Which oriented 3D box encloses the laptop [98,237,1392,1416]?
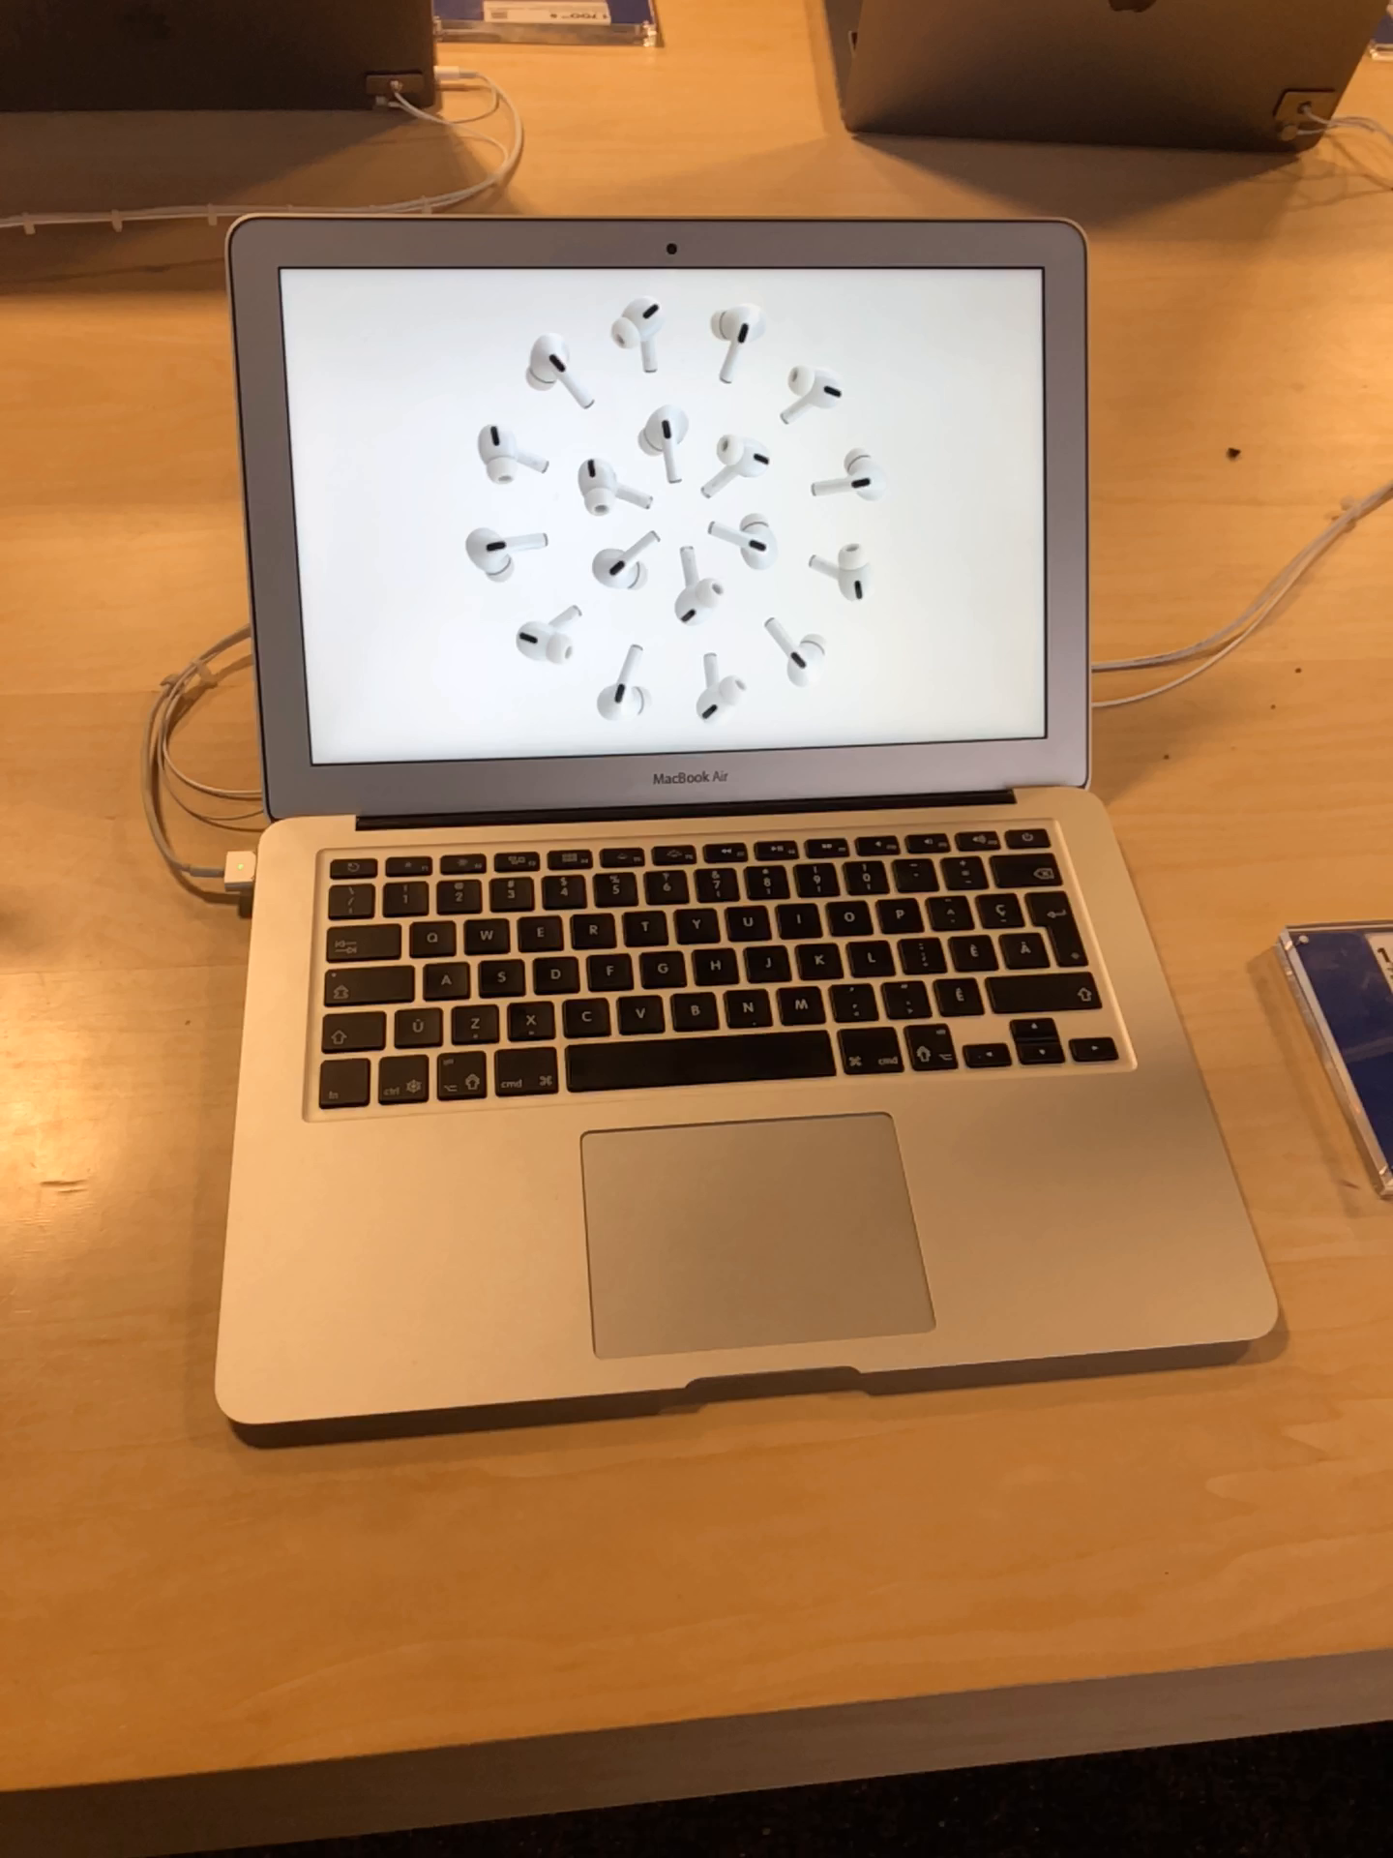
[{"bbox_3d":[0.007,-0.063,0.507,0.311,0.151,0.372,-3,51,-7],"label":"laptop"}]
